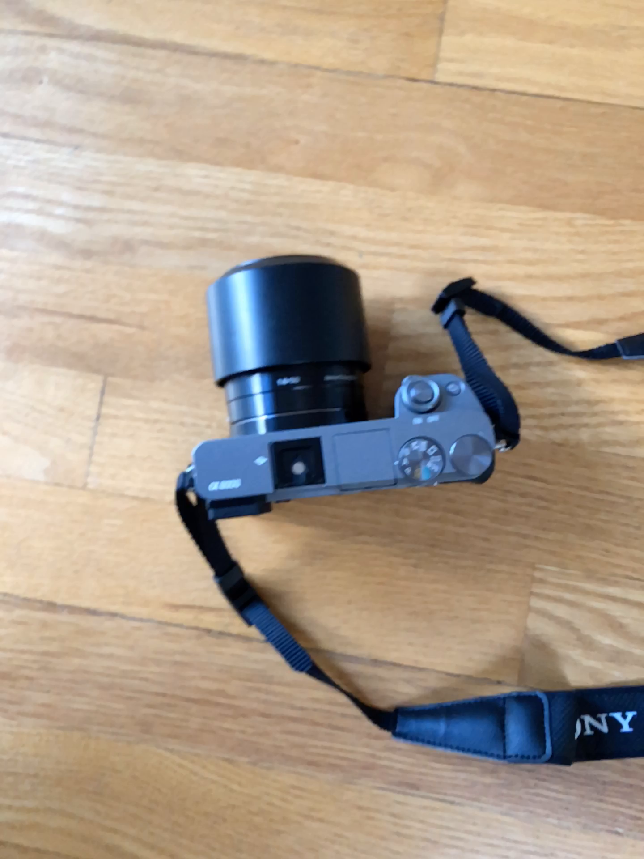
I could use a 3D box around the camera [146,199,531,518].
[{"bbox_3d":[0.006,-0.025,0.318,0.136,0.079,0.106,-8,86,2],"label":"camera"}]
